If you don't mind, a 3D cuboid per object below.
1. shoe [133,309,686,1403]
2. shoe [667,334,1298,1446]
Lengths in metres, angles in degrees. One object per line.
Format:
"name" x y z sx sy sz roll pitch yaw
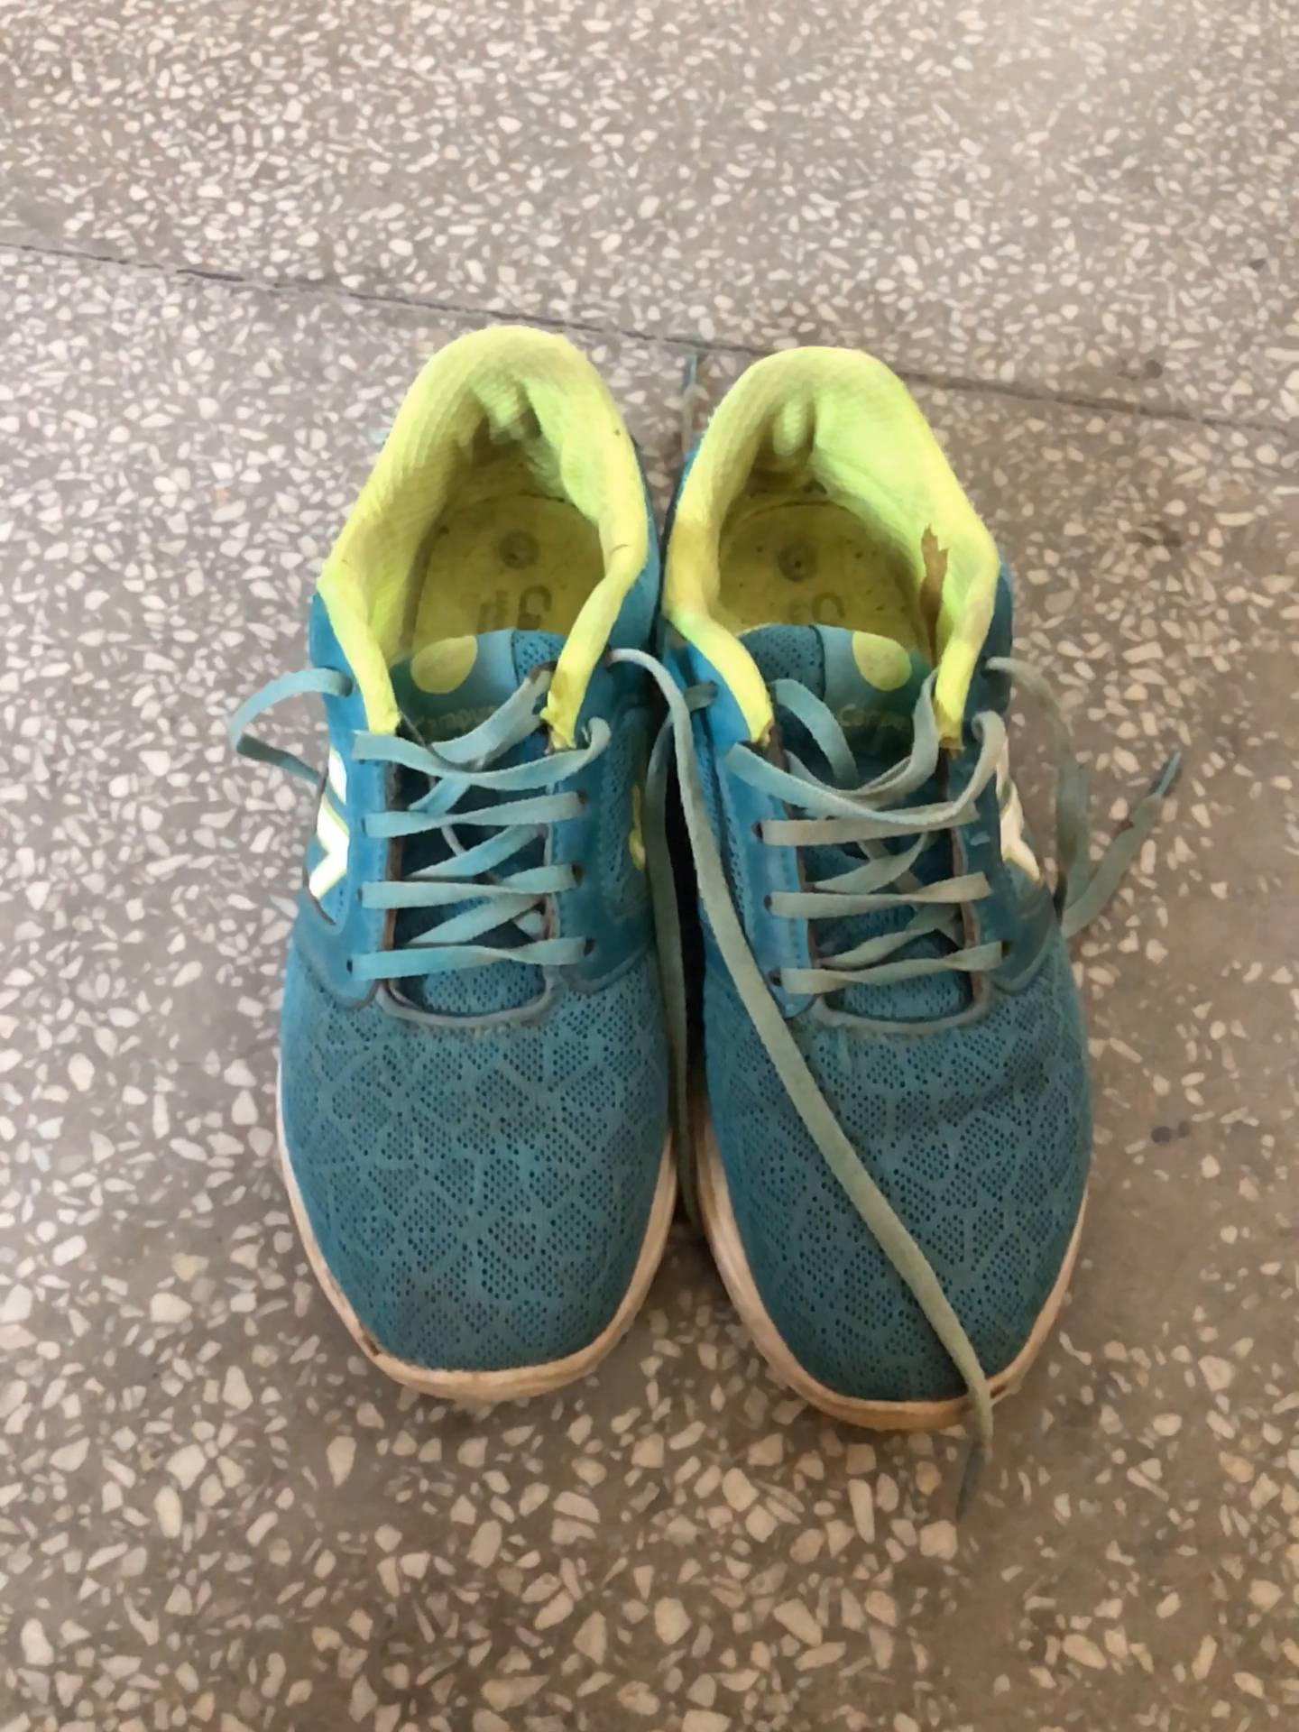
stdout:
"shoe" -0.039 -0.005 0.328 0.091 0.091 0.230 0 65 0
"shoe" 0.056 0.002 0.322 0.094 0.088 0.229 -1 65 -1
